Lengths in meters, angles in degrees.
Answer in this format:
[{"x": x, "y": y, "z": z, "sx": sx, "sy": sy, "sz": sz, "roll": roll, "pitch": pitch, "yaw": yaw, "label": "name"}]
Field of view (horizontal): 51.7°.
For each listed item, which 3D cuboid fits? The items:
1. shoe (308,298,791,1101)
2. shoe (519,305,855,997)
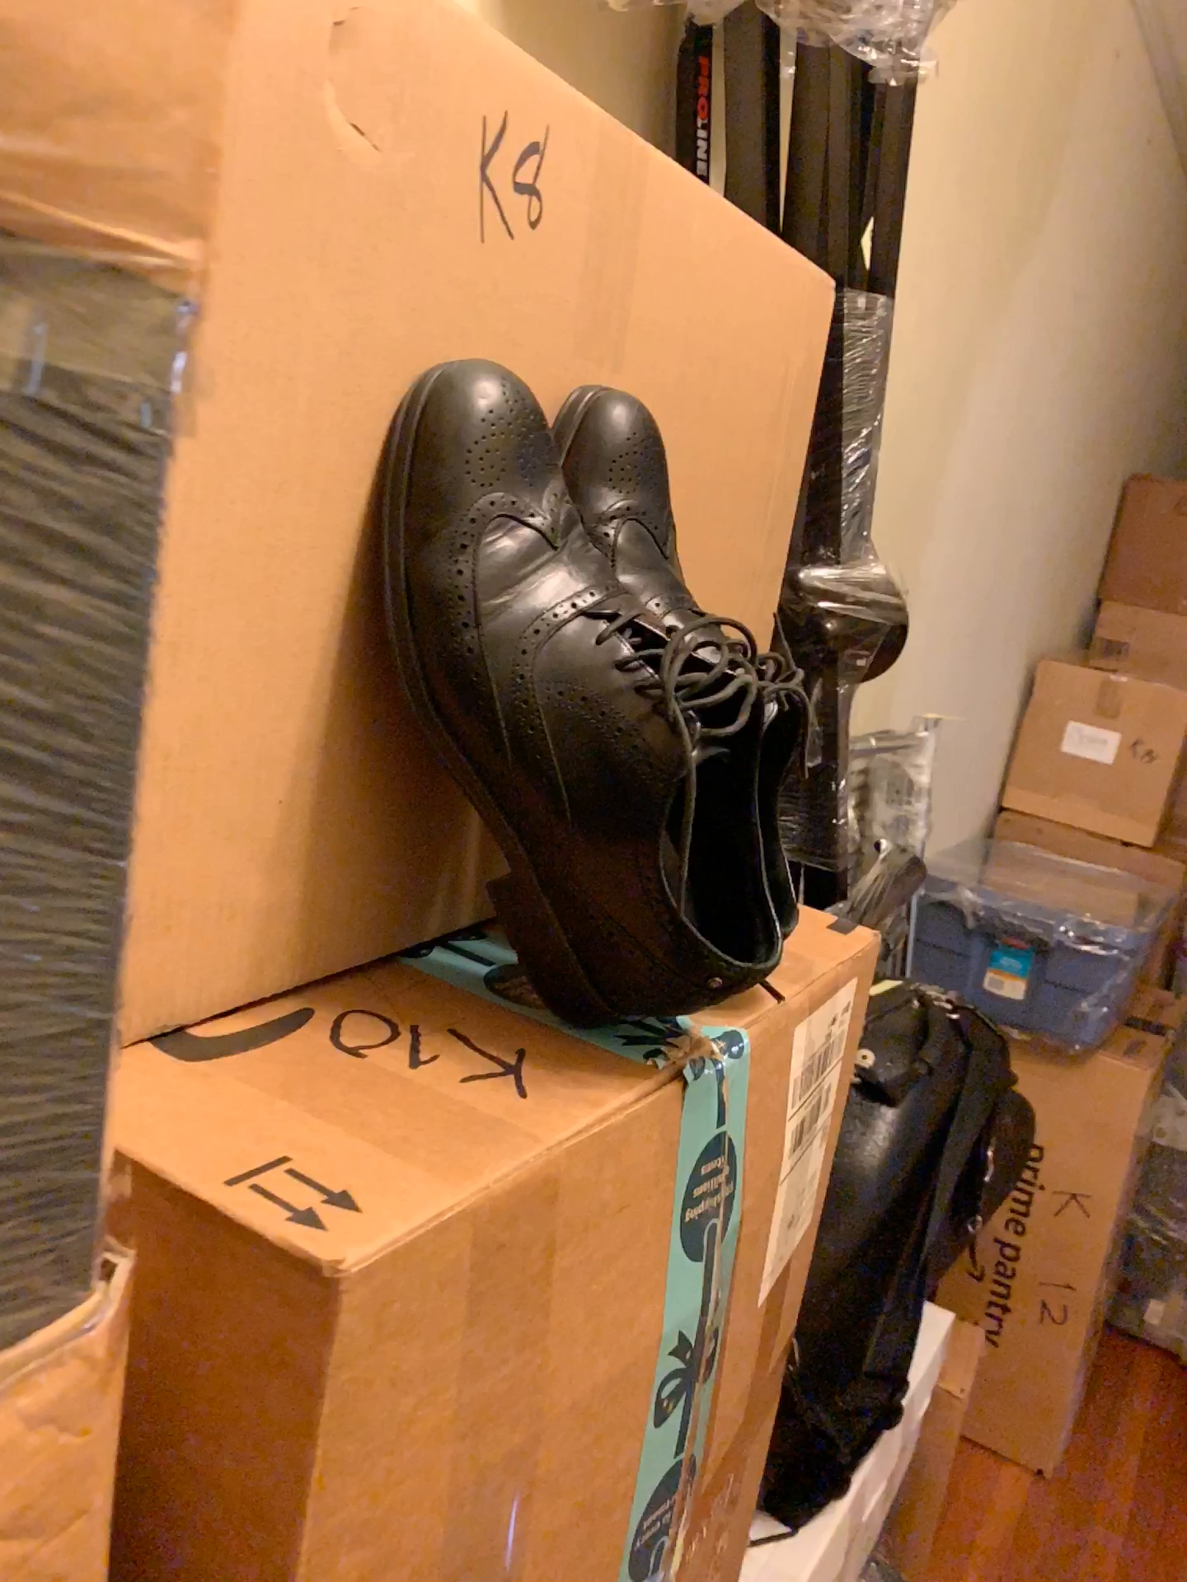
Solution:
[{"x": -0.006, "y": -0.036, "z": 0.489, "sx": 0.100, "sy": 0.279, "sz": 0.120, "roll": -3, "pitch": 15, "yaw": 27, "label": "shoe"}, {"x": 0.049, "y": -0.060, "z": 0.573, "sx": 0.100, "sy": 0.280, "sz": 0.120, "roll": -2, "pitch": 5, "yaw": 29, "label": "shoe"}]
